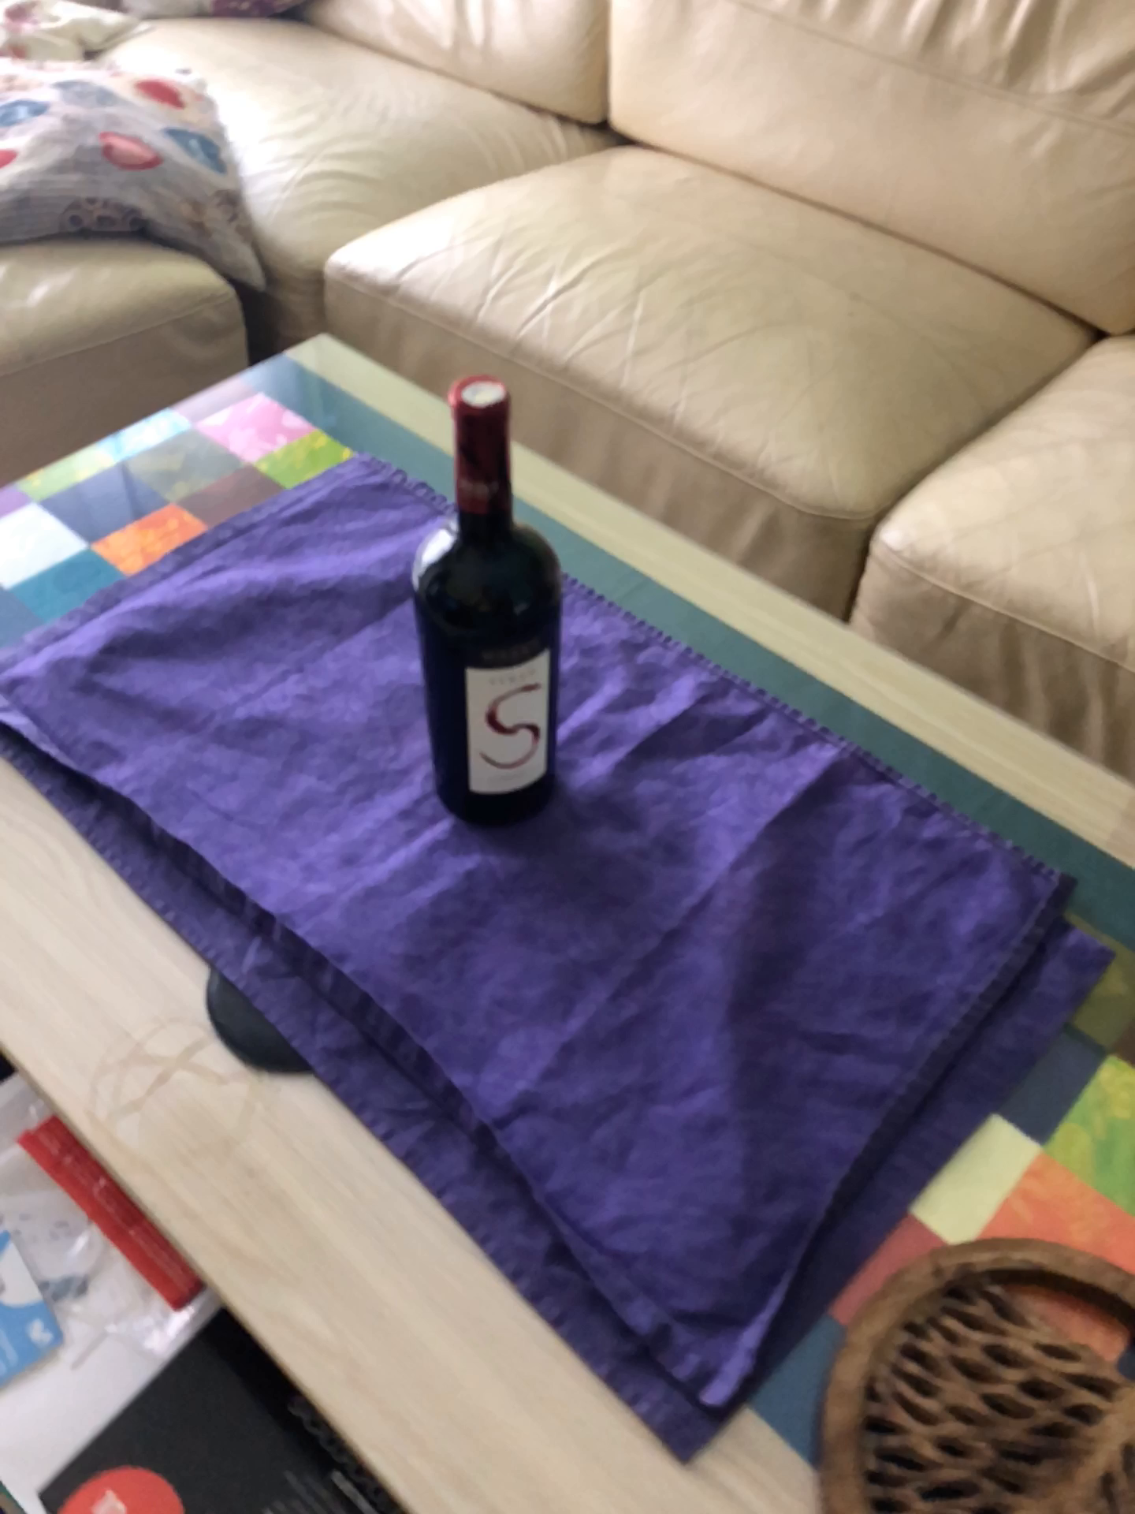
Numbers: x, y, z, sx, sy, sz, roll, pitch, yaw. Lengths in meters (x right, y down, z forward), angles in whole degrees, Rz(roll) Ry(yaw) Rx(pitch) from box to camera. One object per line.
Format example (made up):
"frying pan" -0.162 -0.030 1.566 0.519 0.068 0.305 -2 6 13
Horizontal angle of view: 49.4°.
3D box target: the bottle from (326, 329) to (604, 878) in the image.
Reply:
"bottle" -0.051 -0.068 0.645 0.090 0.269 0.090 1 47 -1
